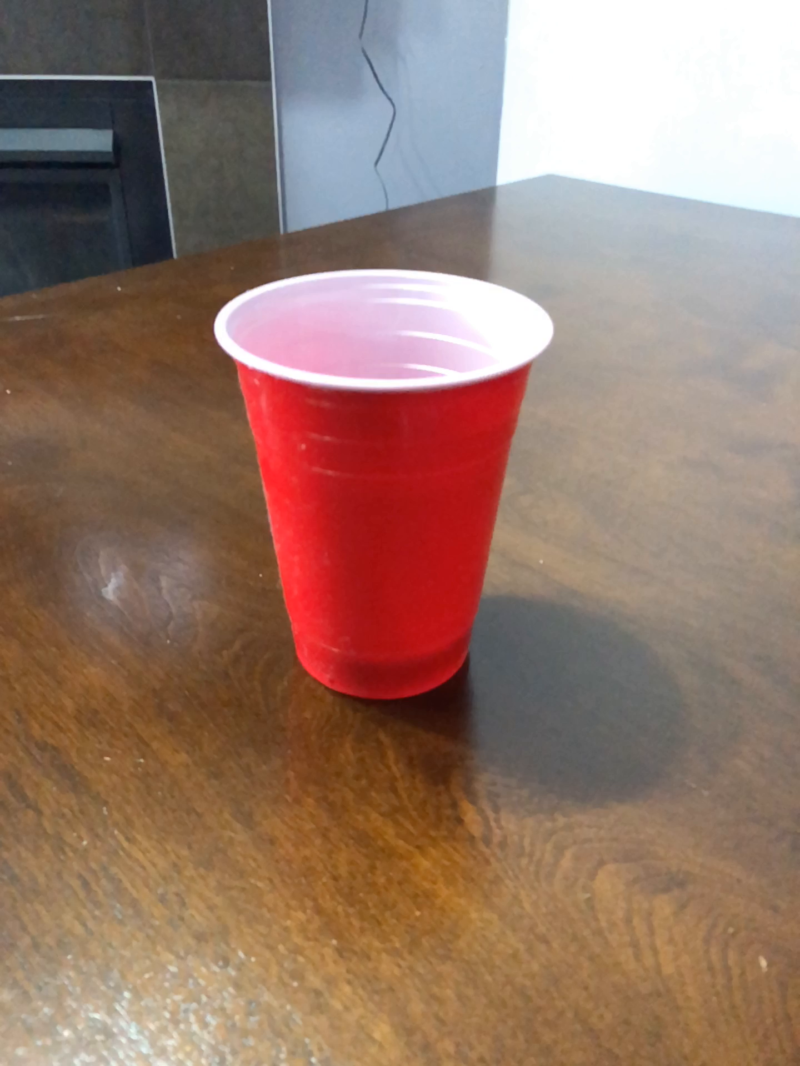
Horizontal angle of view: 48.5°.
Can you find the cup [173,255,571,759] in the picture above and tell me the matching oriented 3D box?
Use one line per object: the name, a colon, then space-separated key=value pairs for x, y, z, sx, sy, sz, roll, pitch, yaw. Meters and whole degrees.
cup: x=-0.005 y=-0.011 z=0.269 sx=0.090 sy=0.119 sz=0.090 roll=1 pitch=30 yaw=-1
